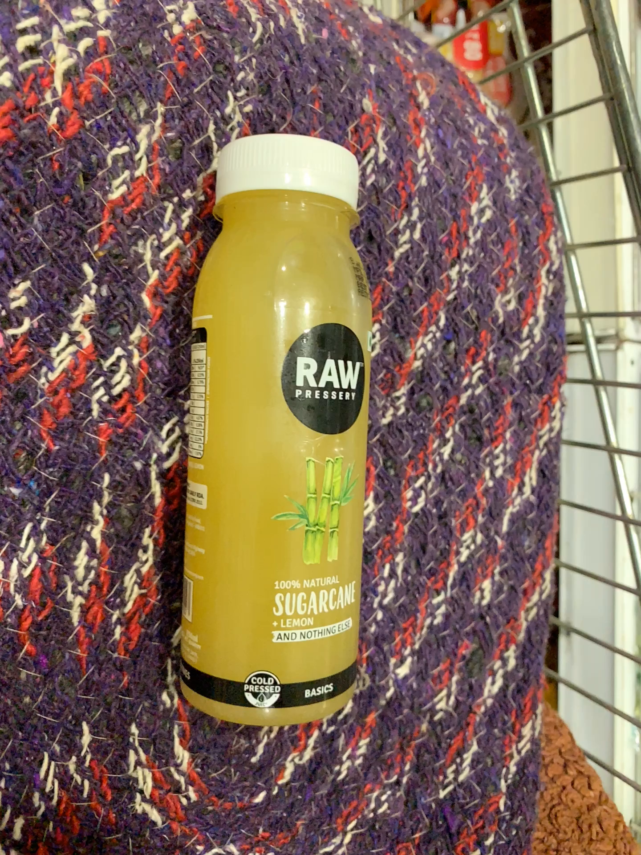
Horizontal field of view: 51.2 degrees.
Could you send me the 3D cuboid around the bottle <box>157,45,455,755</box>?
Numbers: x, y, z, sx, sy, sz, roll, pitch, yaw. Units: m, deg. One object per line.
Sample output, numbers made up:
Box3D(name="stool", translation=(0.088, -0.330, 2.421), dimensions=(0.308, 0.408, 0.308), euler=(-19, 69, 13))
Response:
Box3D(name="bottle", translation=(-0.006, -0.005, 0.188), dimensions=(0.060, 0.050, 0.160), euler=(0, 94, -34))
